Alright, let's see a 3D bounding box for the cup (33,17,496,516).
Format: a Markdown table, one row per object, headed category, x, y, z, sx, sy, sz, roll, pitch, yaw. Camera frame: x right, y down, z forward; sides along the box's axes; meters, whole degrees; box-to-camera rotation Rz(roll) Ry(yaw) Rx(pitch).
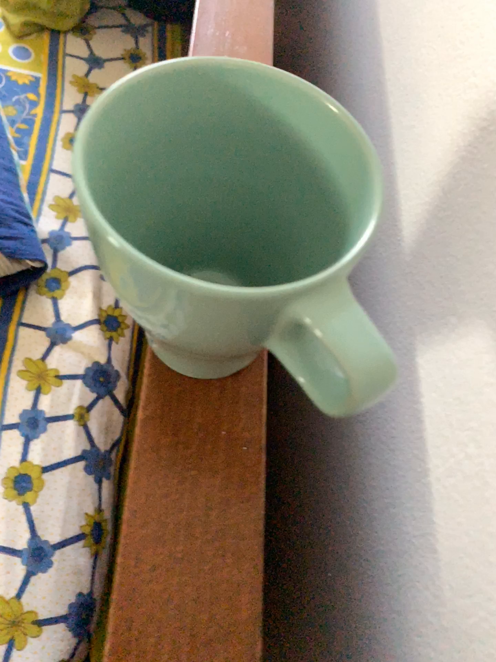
| category | x | y | z | sx | sy | sz | roll | pitch | yaw |
| --- | --- | --- | --- | --- | --- | --- | --- | --- | --- |
| cup | 0.004 | -0.017 | 0.179 | 0.082 | 0.091 | 0.123 | -31 | 73 | -19 |
